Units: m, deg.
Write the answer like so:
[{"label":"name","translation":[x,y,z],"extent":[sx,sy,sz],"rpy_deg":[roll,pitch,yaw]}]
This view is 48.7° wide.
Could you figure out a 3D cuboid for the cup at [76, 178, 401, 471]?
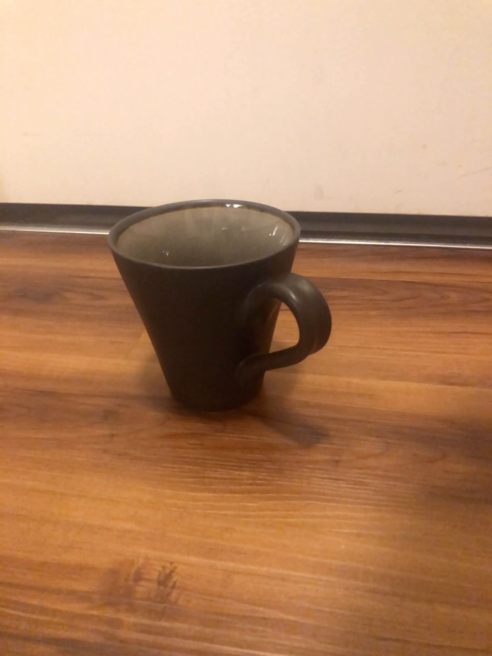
[{"label":"cup","translation":[-0.008,-0.018,0.337],"extent":[0.114,0.100,0.155],"rpy_deg":[-25,37,-34]}]
